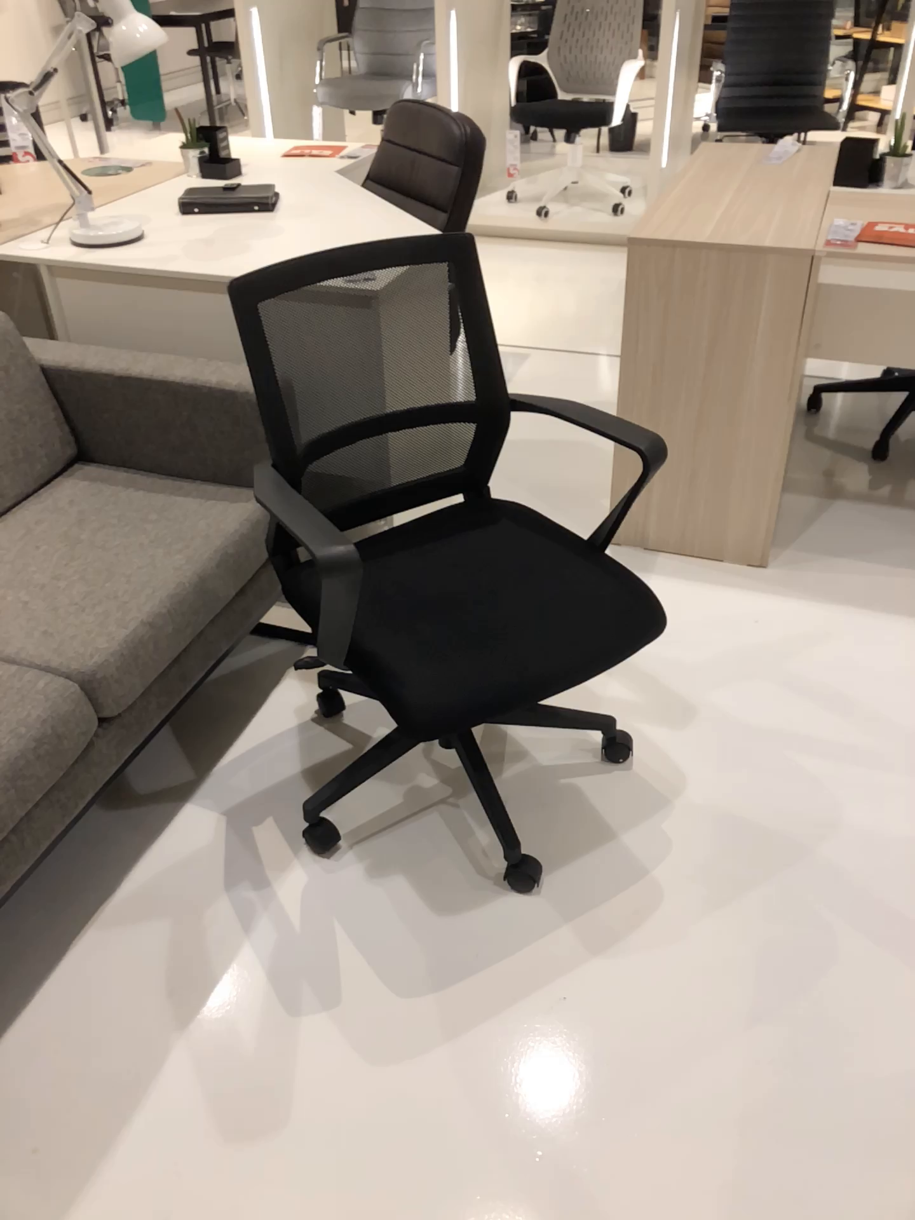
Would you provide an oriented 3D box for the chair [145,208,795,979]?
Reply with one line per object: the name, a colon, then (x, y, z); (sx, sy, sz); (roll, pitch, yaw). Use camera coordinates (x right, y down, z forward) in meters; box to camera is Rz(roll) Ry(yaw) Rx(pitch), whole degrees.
chair: (0.006, -0.069, 1.674); (0.682, 0.933, 0.633); (-21, 39, -26)
